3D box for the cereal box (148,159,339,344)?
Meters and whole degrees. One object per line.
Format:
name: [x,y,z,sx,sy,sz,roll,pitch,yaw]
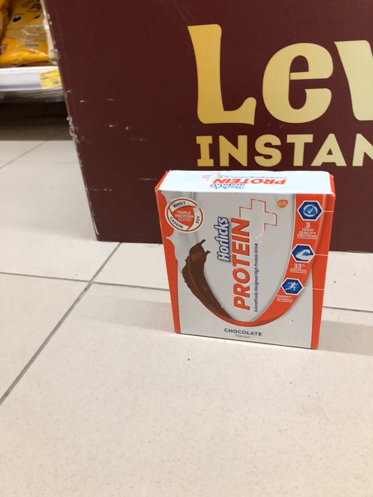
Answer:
cereal box: [0.050,0.003,0.362,0.140,0.149,0.050,3,32,14]
